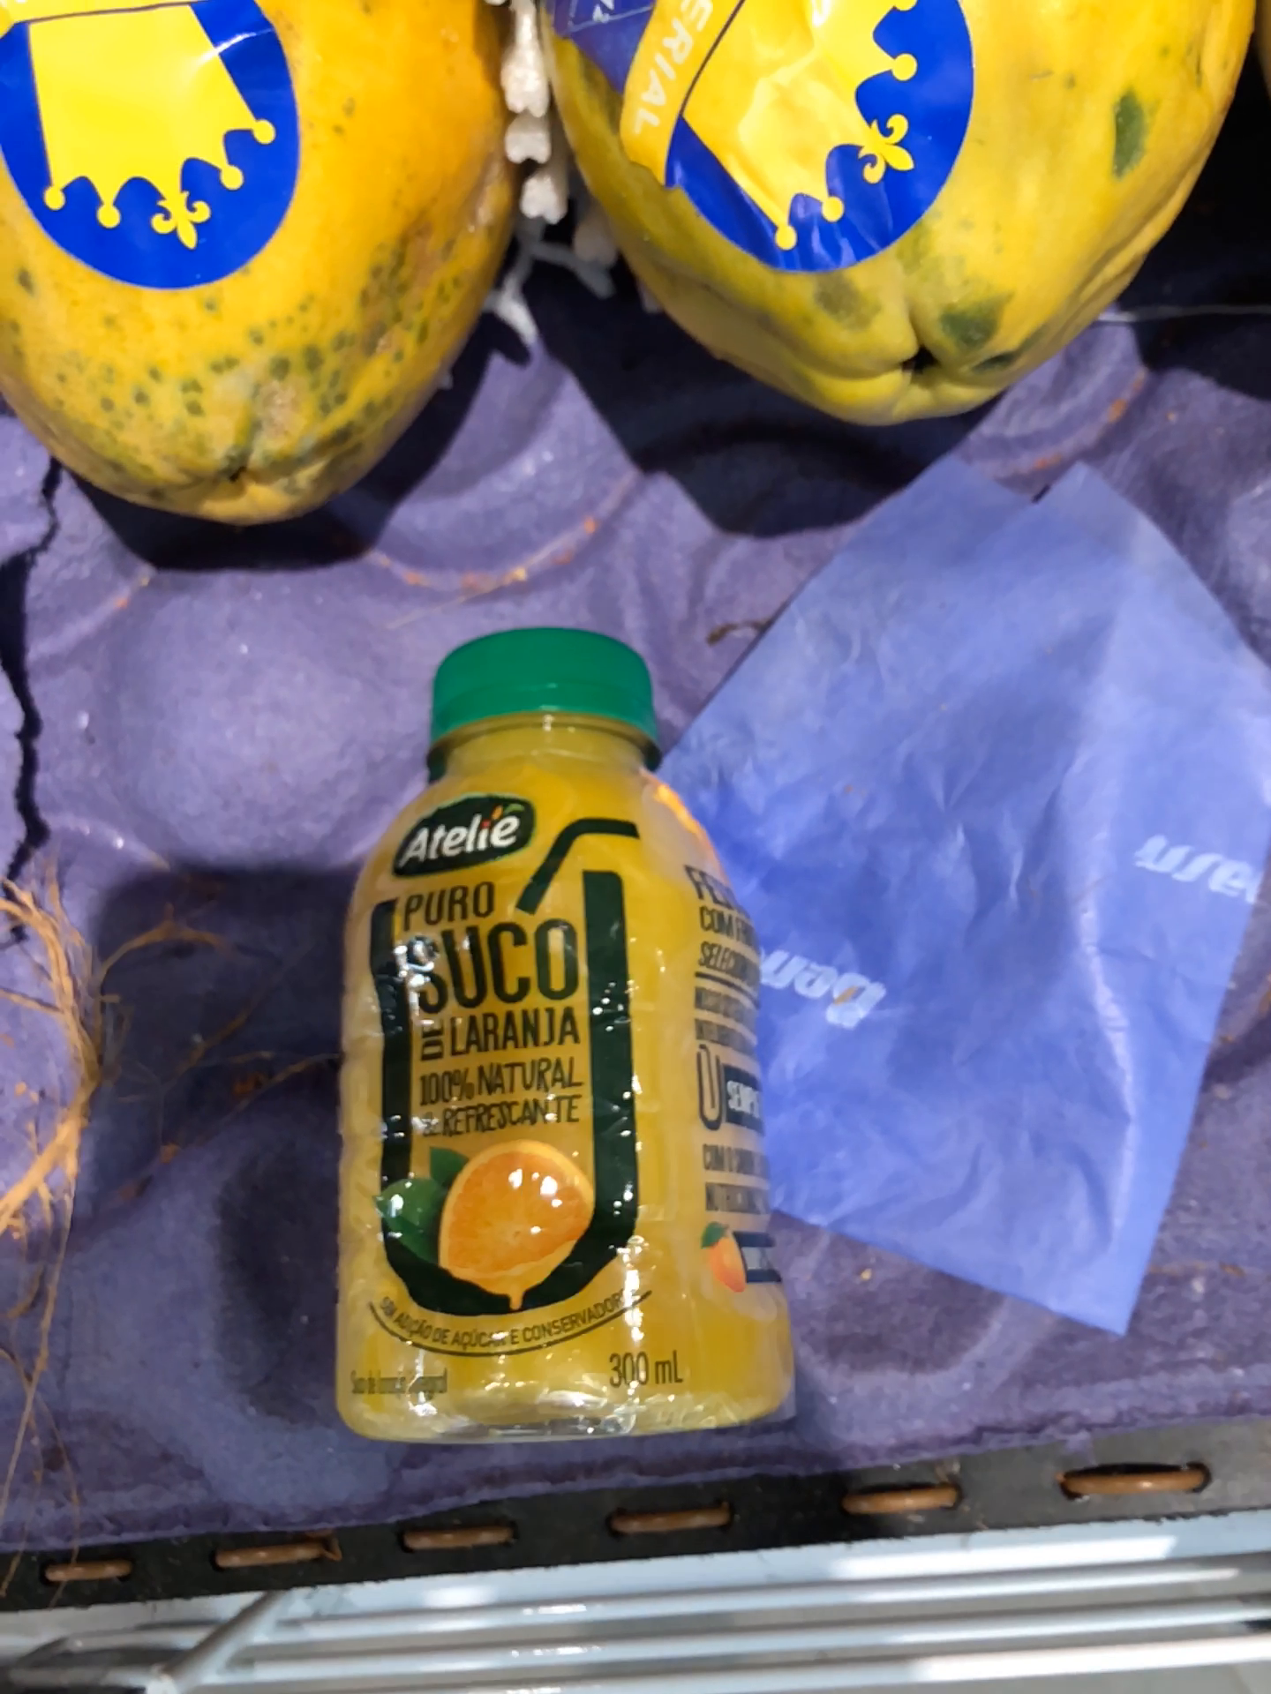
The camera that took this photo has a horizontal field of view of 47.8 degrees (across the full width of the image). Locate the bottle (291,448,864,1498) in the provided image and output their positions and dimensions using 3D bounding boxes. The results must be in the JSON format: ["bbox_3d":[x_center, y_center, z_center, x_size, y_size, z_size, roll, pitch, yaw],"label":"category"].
[{"bbox_3d":[-0.007,0.020,0.228,0.070,0.060,0.140,-6,78,10],"label":"bottle"}]
